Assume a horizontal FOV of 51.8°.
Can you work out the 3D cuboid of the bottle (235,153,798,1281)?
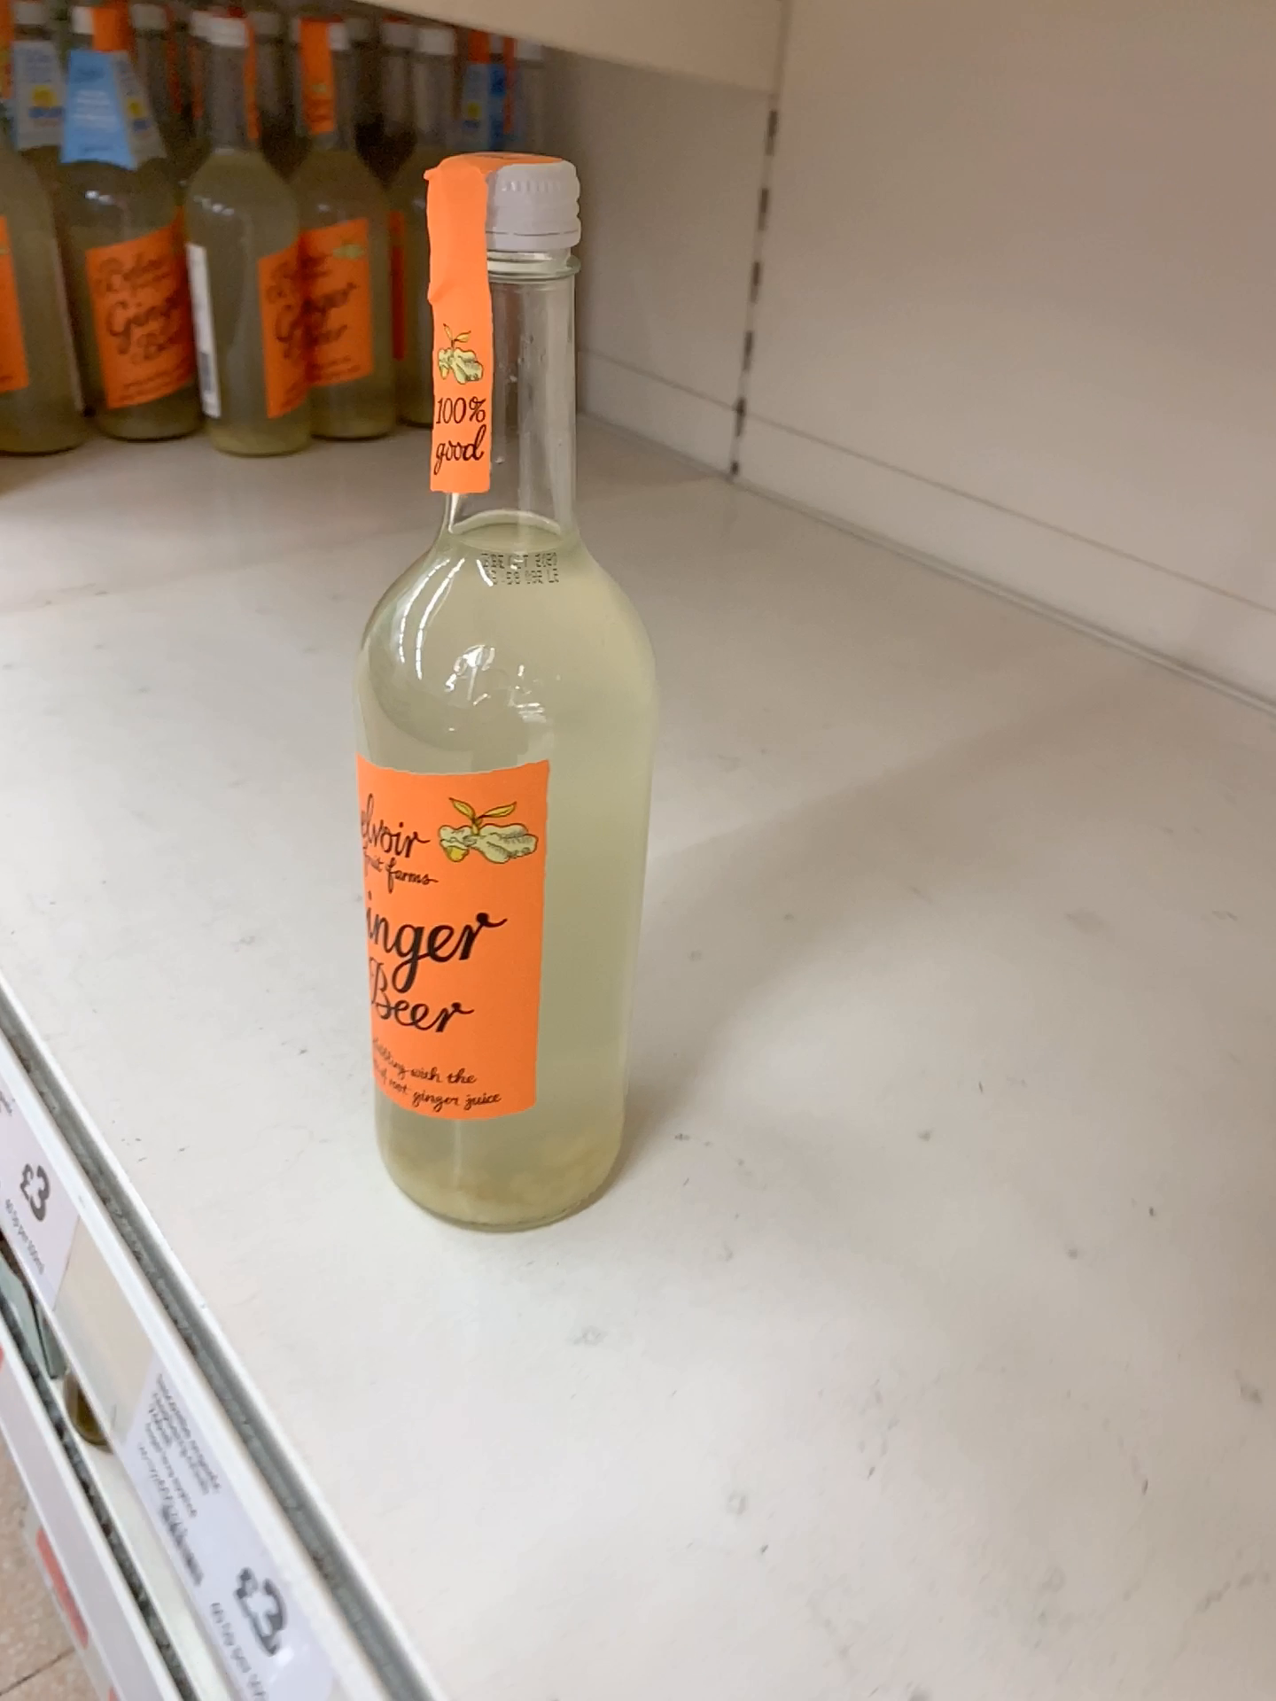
[{"bbox_3d":[-0.036,-0.026,0.352,0.090,0.277,0.084,3,32,-2],"label":"bottle"}]
